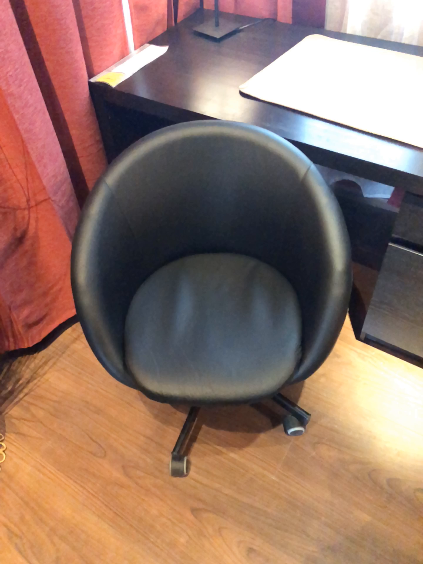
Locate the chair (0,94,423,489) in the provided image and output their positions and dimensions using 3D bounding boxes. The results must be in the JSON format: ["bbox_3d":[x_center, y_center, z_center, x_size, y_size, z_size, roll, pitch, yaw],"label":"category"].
[{"bbox_3d":[0.009,0.055,1.096,0.630,0.696,0.574,-5,49,1],"label":"chair"}]
